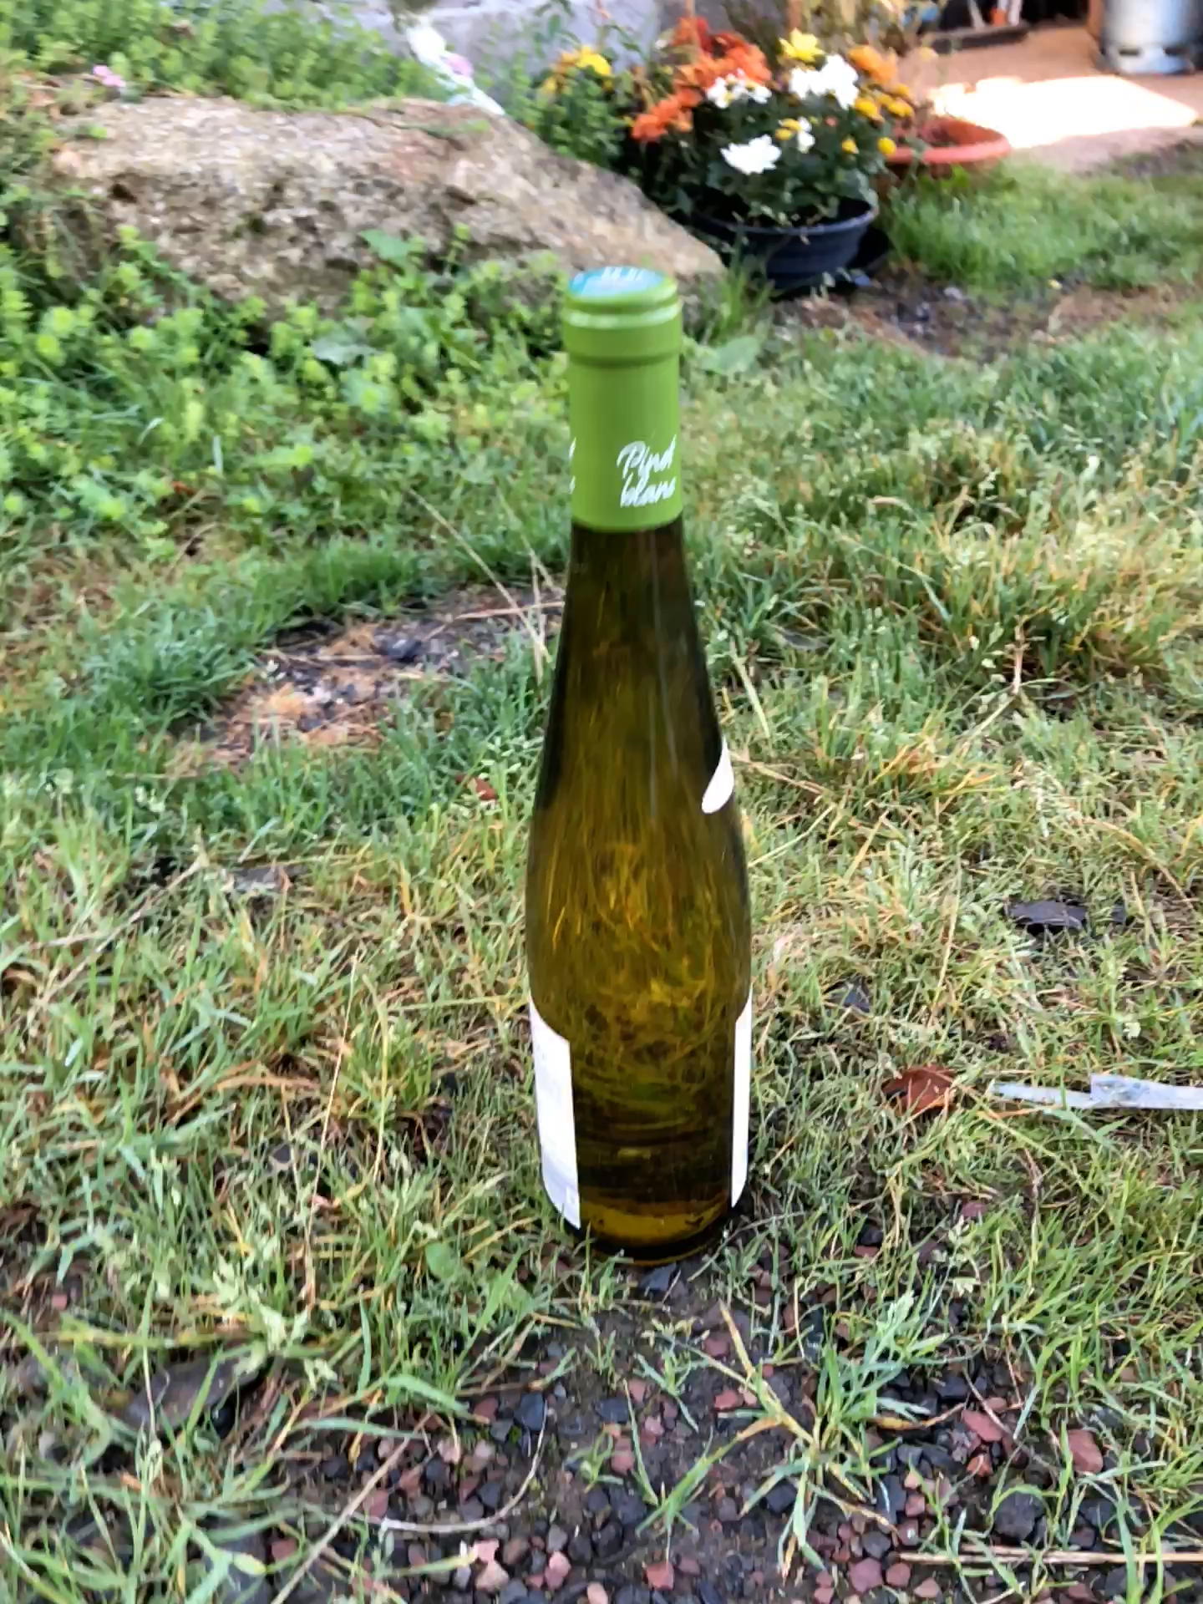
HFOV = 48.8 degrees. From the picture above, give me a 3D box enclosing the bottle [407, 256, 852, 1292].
[{"bbox_3d":[0.013,0.009,0.423,0.090,0.318,0.090,-3,34,2],"label":"bottle"}]
